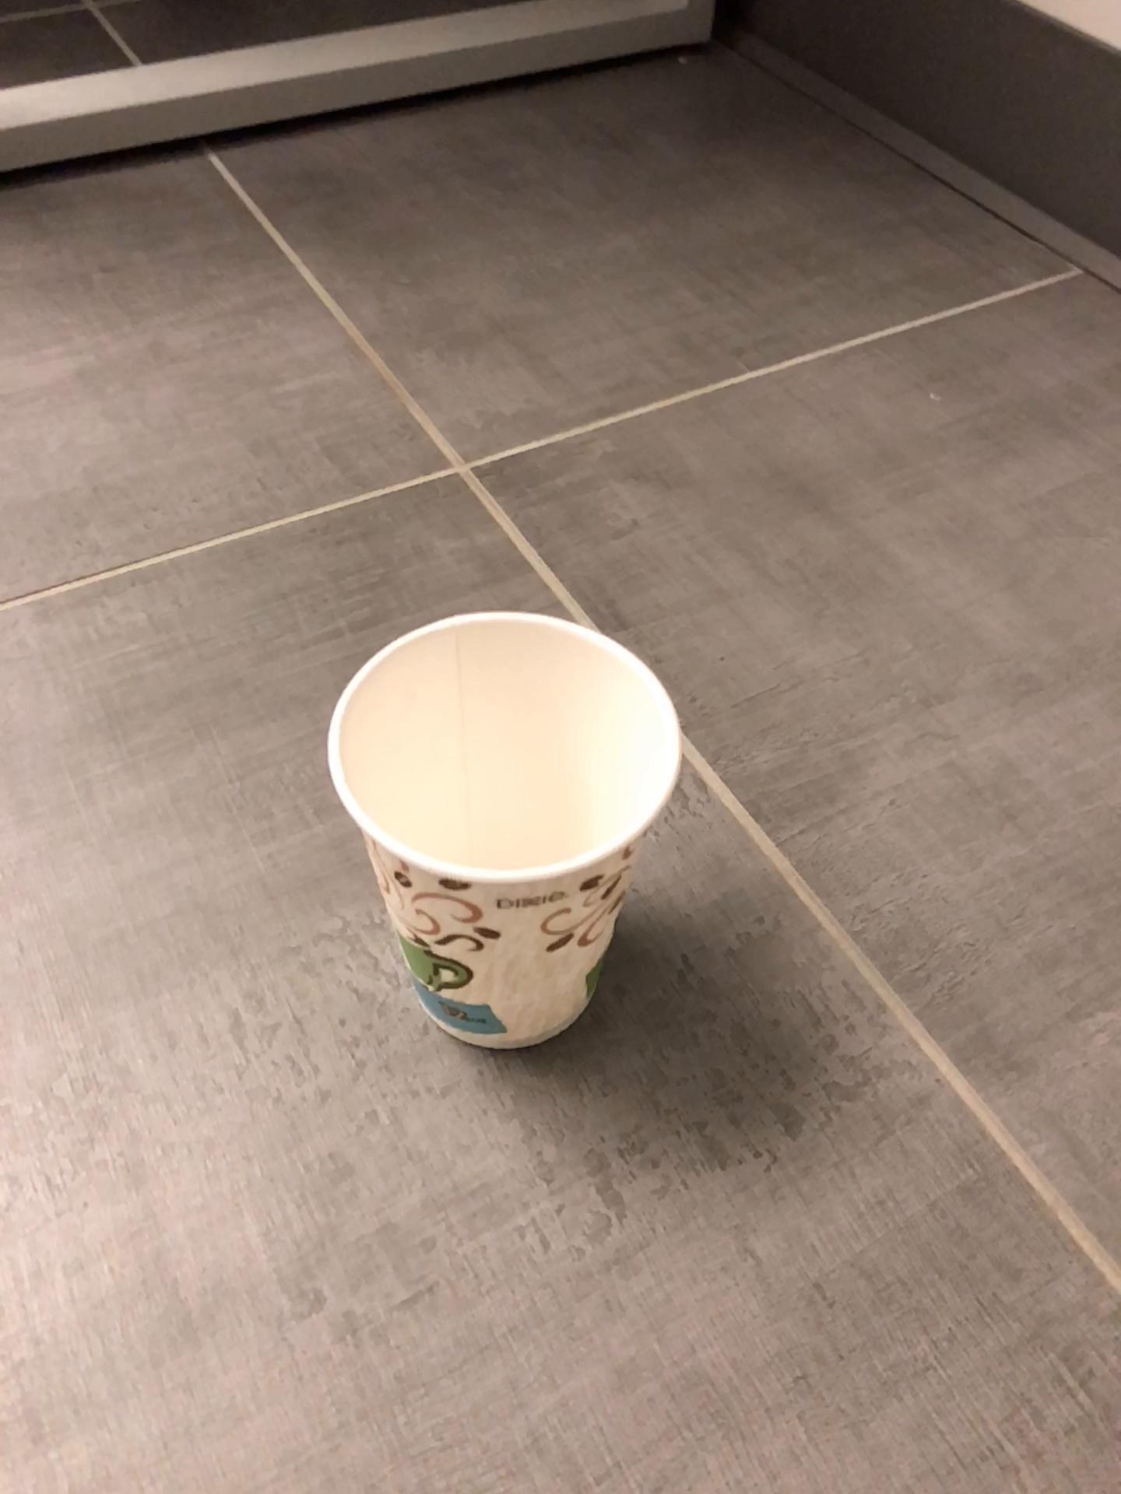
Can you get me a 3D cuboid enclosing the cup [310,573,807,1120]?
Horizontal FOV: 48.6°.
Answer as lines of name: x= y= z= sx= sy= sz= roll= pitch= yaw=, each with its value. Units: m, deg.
cup: x=-0.006 y=0.027 z=0.344 sx=0.100 sy=0.100 sz=0.090 roll=-12 pitch=51 yaw=-13
